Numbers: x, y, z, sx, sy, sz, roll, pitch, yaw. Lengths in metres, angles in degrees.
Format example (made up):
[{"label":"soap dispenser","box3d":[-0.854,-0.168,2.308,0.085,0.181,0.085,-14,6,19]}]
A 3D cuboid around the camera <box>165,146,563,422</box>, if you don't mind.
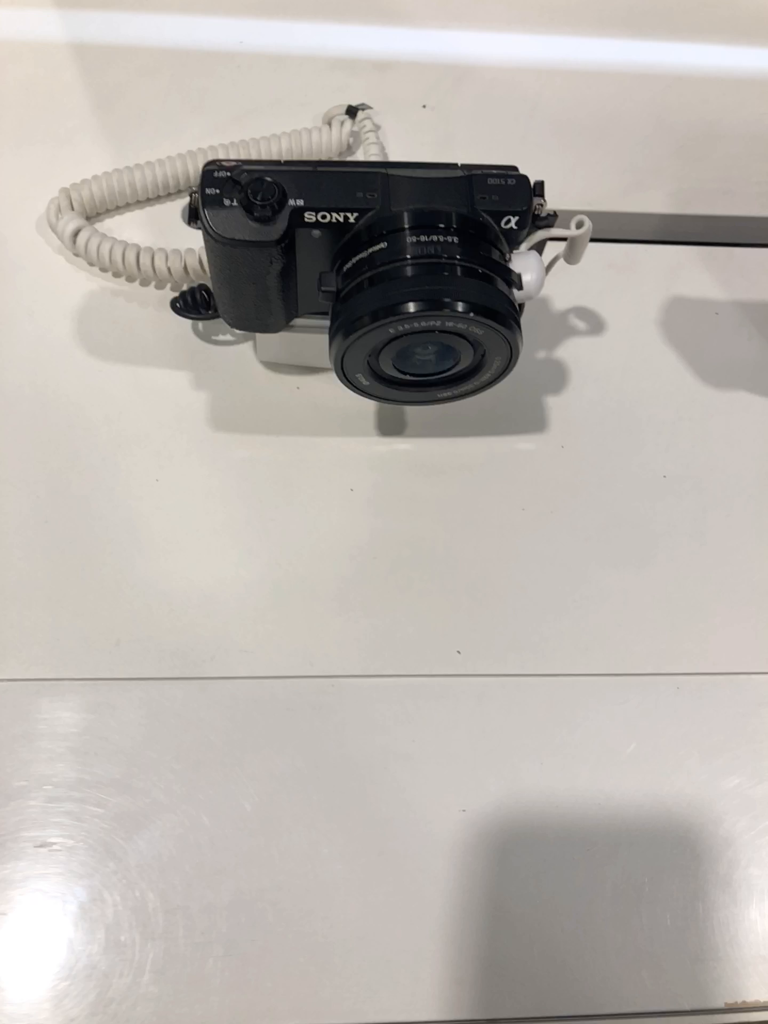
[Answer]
[{"label":"camera","box3d":[-0.007,-0.072,0.282,0.113,0.060,0.062,0,66,-3]}]
